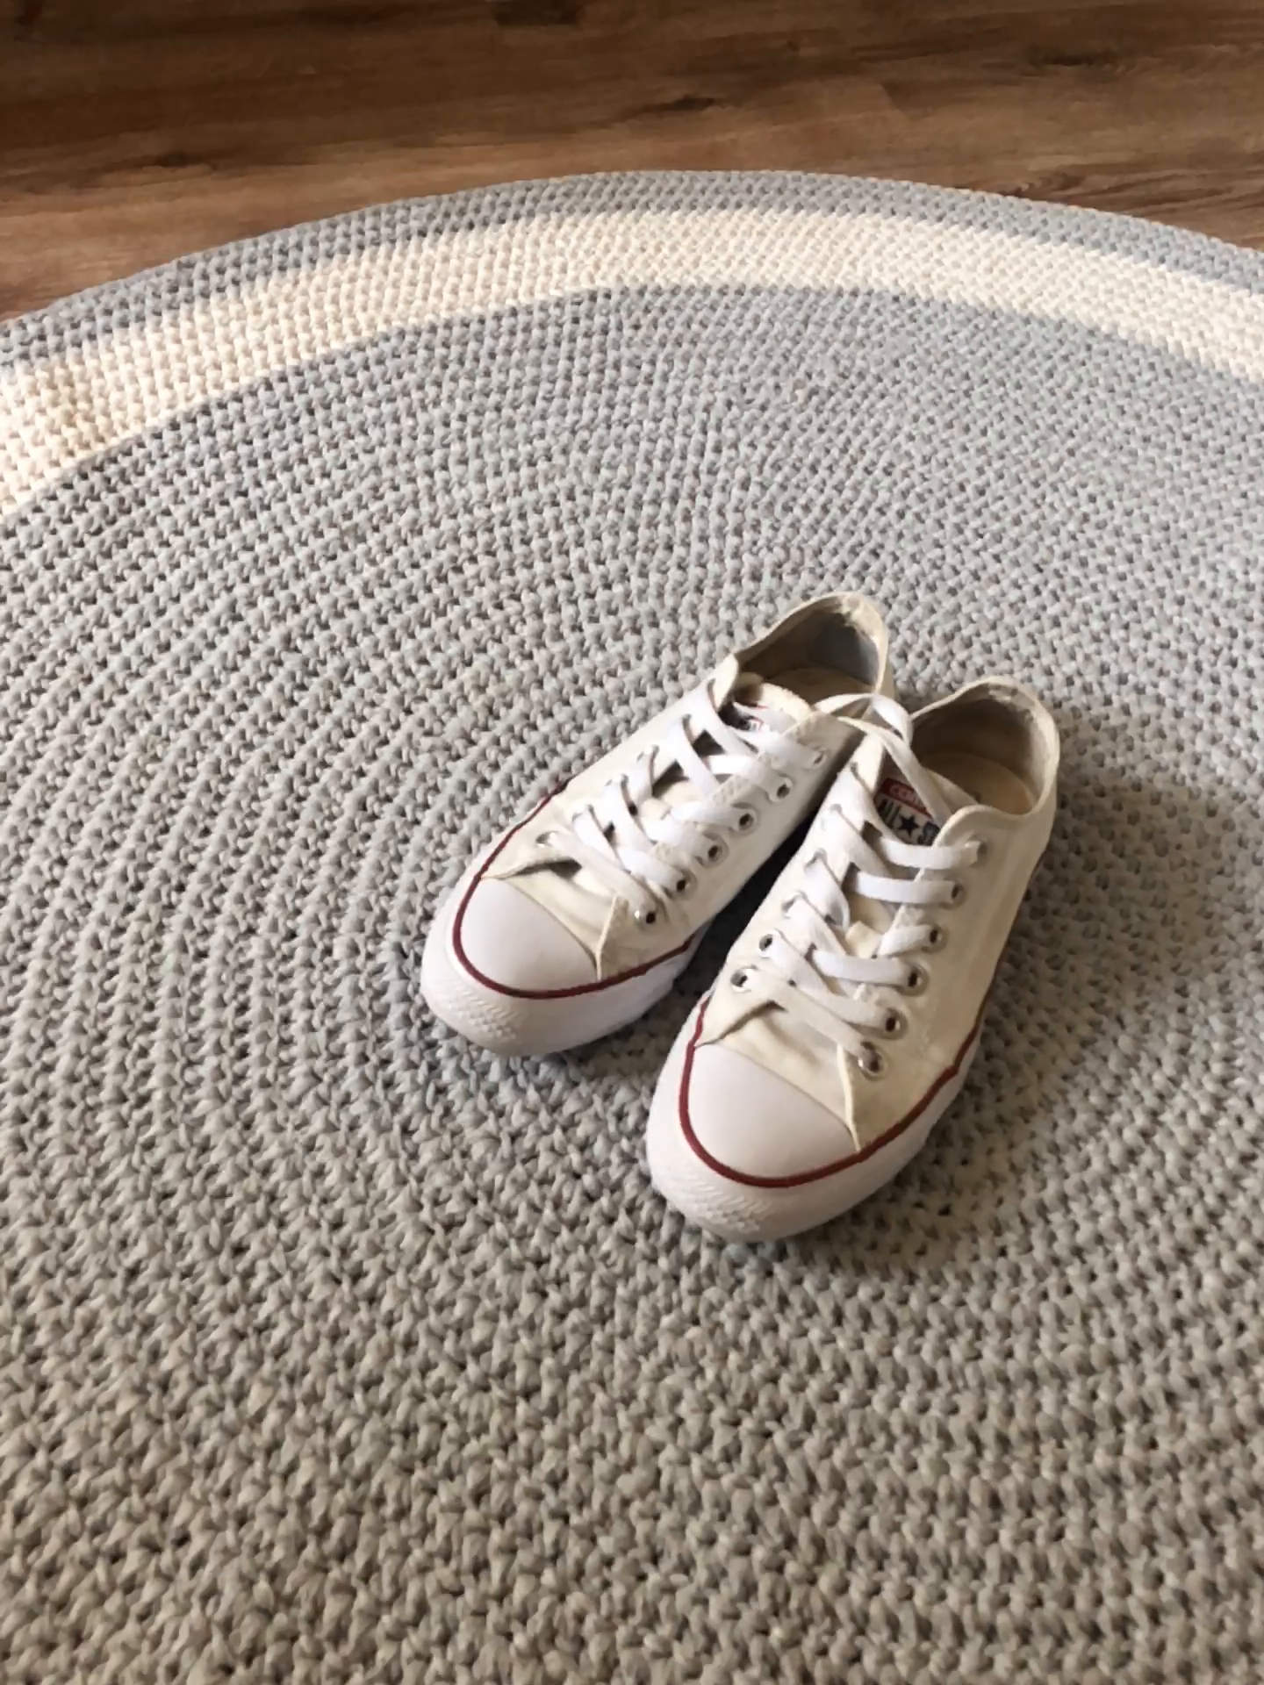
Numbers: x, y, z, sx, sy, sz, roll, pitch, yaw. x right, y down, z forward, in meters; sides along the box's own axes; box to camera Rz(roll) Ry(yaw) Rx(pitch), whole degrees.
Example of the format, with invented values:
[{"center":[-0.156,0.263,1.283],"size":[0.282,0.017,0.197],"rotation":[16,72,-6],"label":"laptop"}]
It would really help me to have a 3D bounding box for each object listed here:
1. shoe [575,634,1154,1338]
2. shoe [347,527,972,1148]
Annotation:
[{"center":[0.089,0.039,0.504],"size":[0.100,0.070,0.240],"rotation":[28,56,18],"label":"shoe"},{"center":[0.018,-0.014,0.542],"size":[0.100,0.070,0.247],"rotation":[34,58,21],"label":"shoe"}]
